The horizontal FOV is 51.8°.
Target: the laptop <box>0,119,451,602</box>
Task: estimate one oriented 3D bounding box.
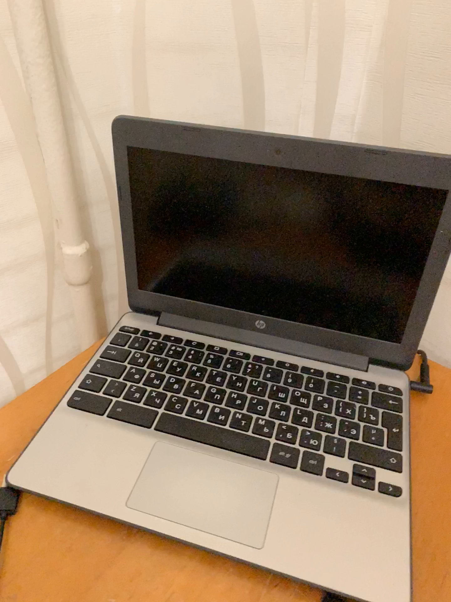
[{"bbox_3d":[0.008,0.016,0.321,0.271,0.187,0.207,12,39,13],"label":"laptop"}]
